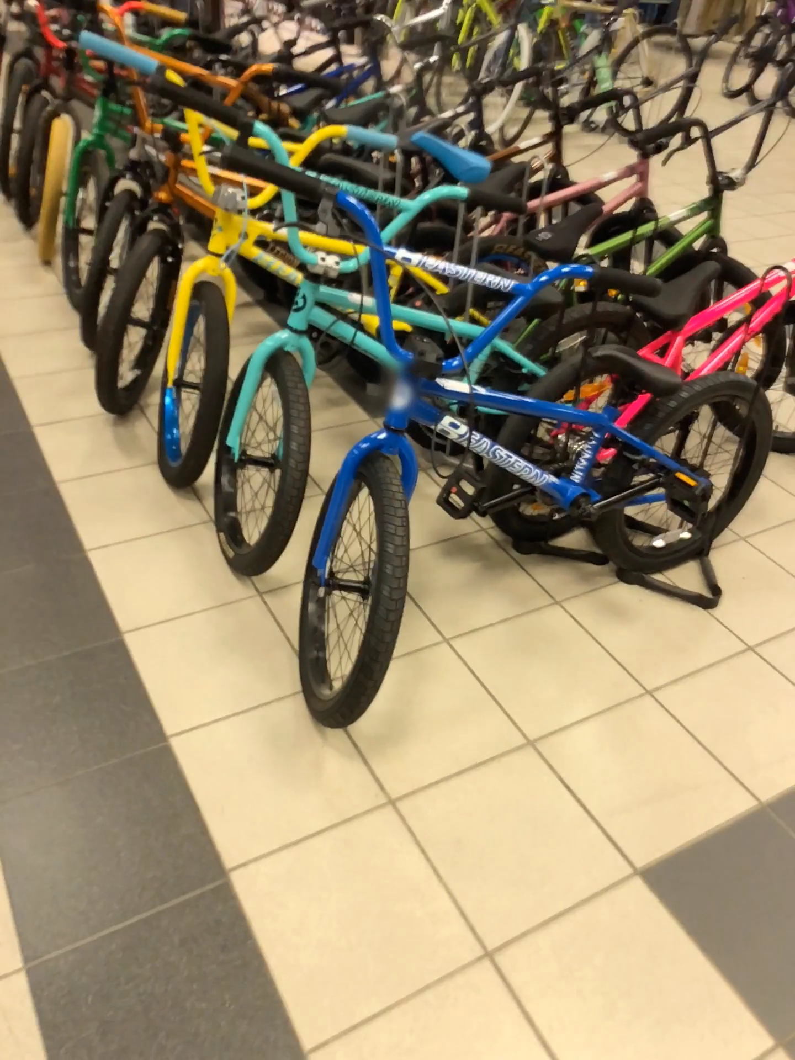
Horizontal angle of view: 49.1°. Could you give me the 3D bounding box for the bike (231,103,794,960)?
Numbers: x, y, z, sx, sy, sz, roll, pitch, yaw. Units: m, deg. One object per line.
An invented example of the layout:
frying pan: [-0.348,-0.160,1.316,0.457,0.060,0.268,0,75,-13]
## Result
bike: [0.407,-0.177,1.636,1.259,0.960,0.824,-20,43,-33]
